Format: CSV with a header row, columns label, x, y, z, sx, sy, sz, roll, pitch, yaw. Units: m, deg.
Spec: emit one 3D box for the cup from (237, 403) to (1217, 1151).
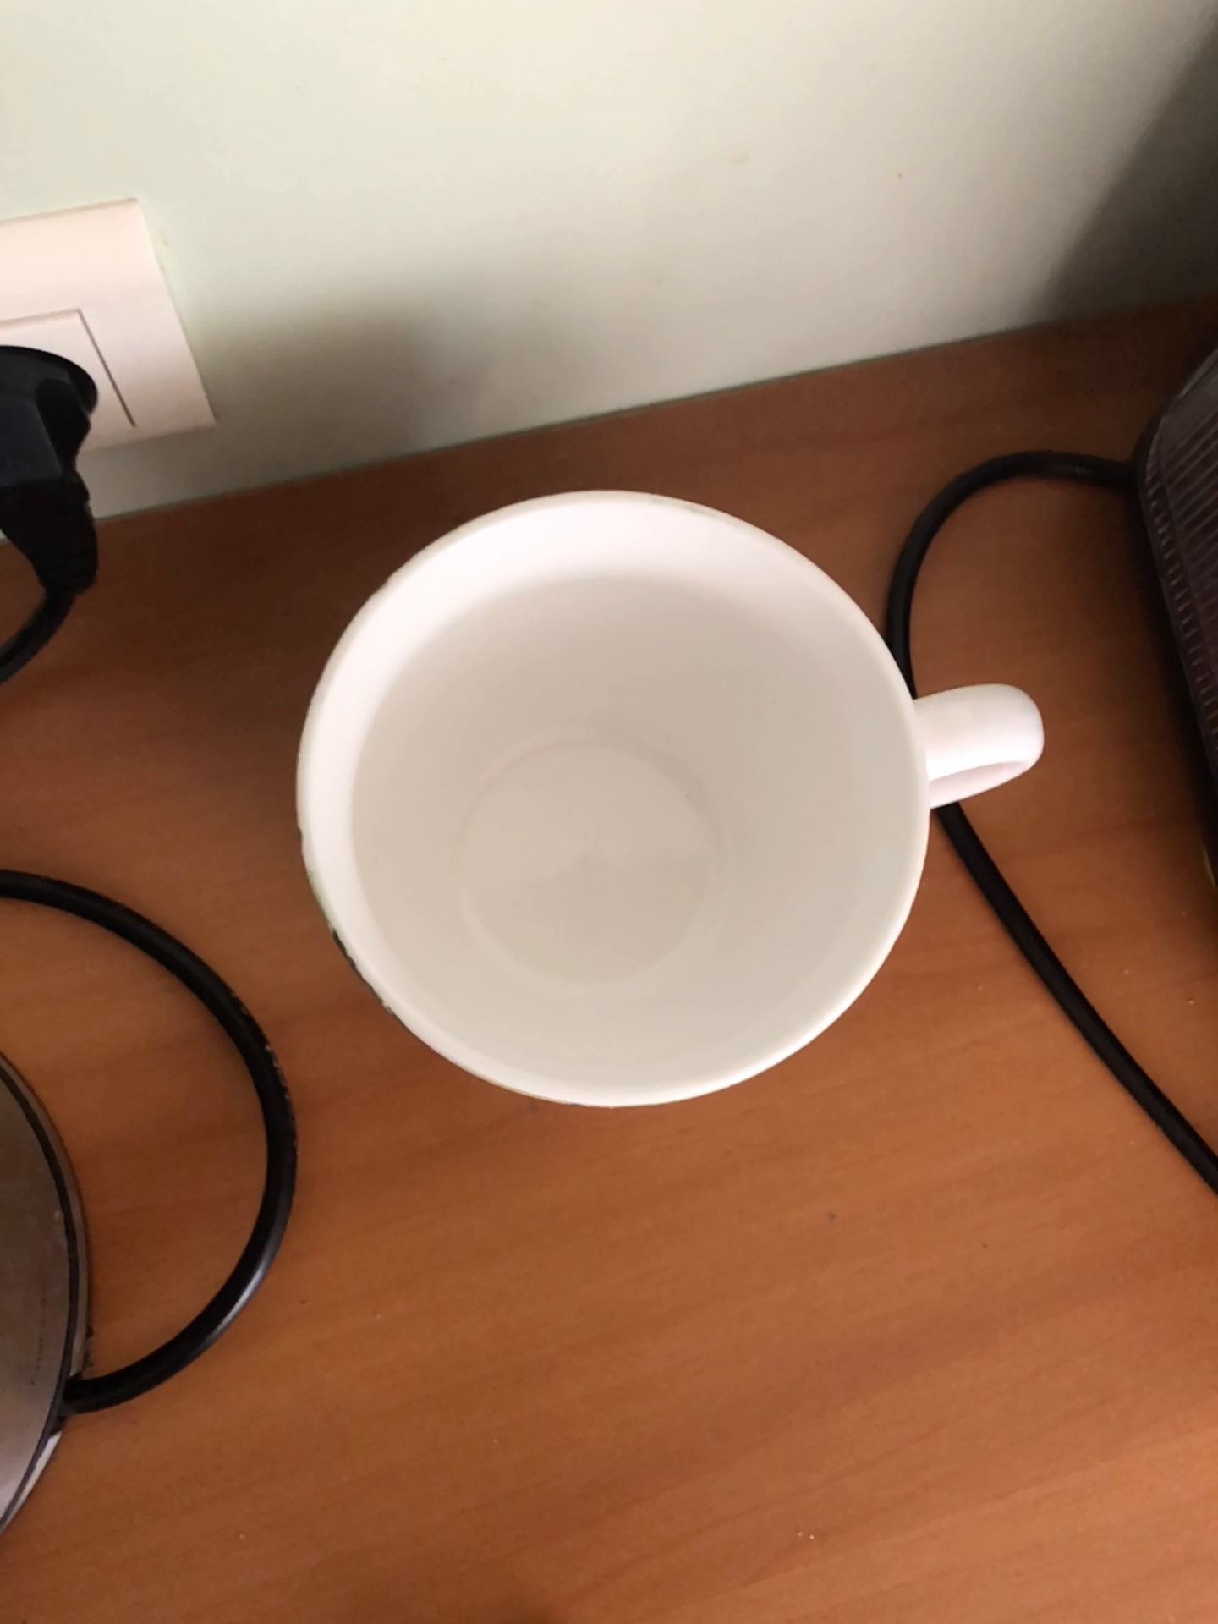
label,x,y,z,sx,sy,sz,roll,pitch,yaw
cup,0.021,-0.005,0.285,0.170,0.070,0.120,-9,77,-8
